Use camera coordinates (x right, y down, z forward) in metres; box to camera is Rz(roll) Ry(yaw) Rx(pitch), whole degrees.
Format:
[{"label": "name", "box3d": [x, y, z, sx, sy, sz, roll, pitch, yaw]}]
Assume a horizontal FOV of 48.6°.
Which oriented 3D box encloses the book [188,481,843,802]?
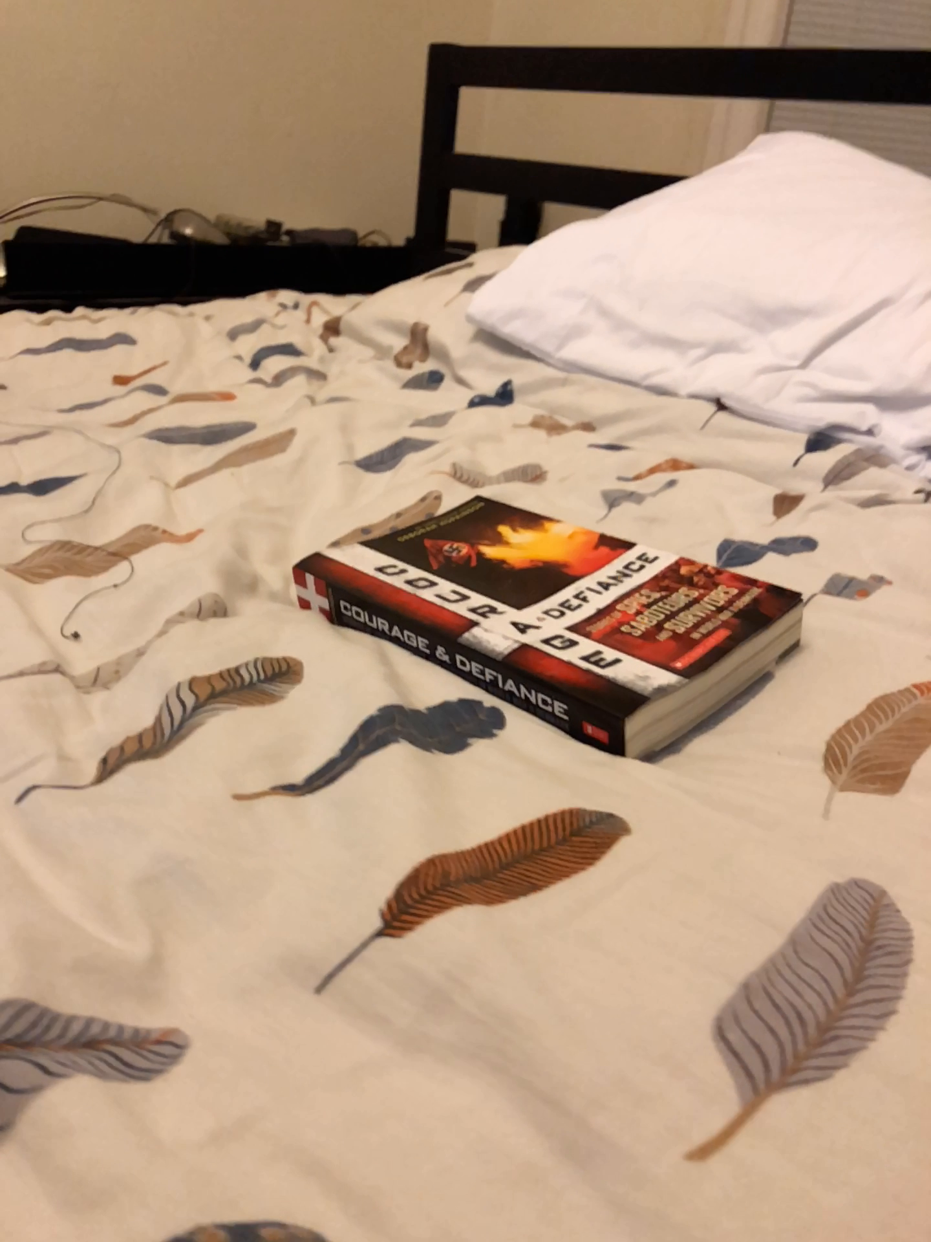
[{"label": "book", "box3d": [0.024, -0.011, 0.480, 0.230, 0.020, 0.201, 24, 29, 35]}]
